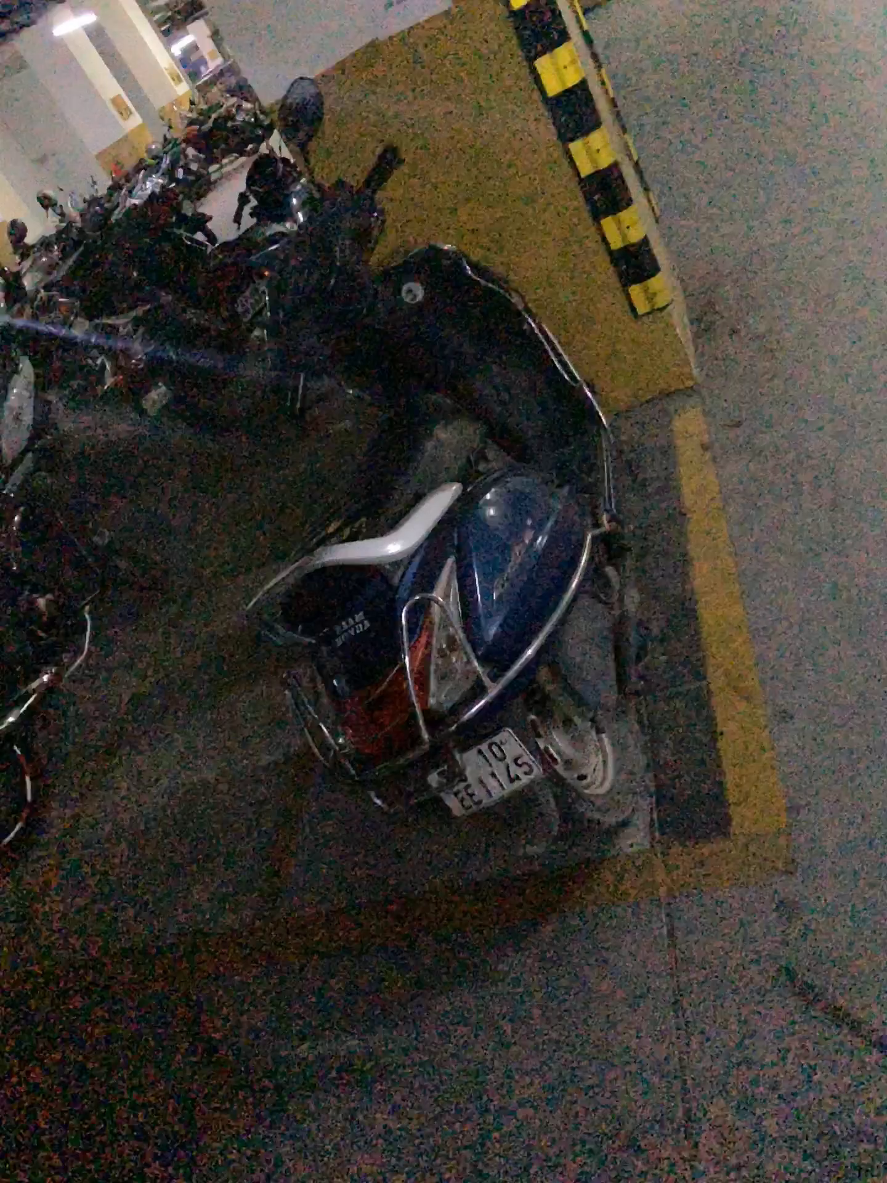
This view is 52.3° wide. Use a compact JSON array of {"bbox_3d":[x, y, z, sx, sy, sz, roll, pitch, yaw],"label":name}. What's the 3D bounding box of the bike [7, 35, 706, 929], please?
[{"bbox_3d":[-0.155,-0.275,1.879,0.631,1.062,1.276,-25,38,14],"label":"bike"}]
